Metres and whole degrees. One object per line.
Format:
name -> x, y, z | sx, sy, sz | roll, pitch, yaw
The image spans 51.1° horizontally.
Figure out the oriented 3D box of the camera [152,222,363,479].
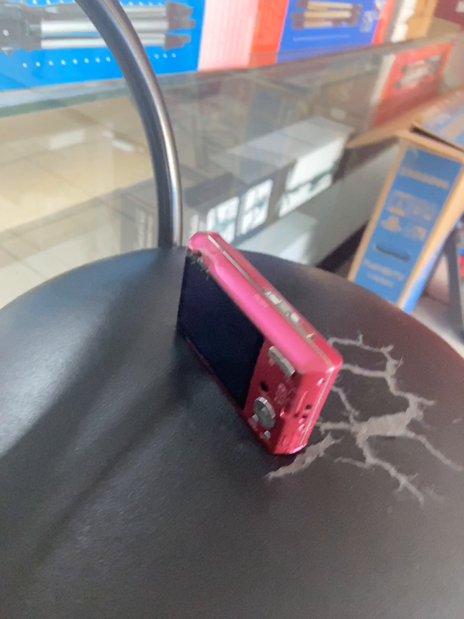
camera -> 0.003, 0.012, 0.207 | 0.030, 0.050, 0.100 | -15, 46, -30
